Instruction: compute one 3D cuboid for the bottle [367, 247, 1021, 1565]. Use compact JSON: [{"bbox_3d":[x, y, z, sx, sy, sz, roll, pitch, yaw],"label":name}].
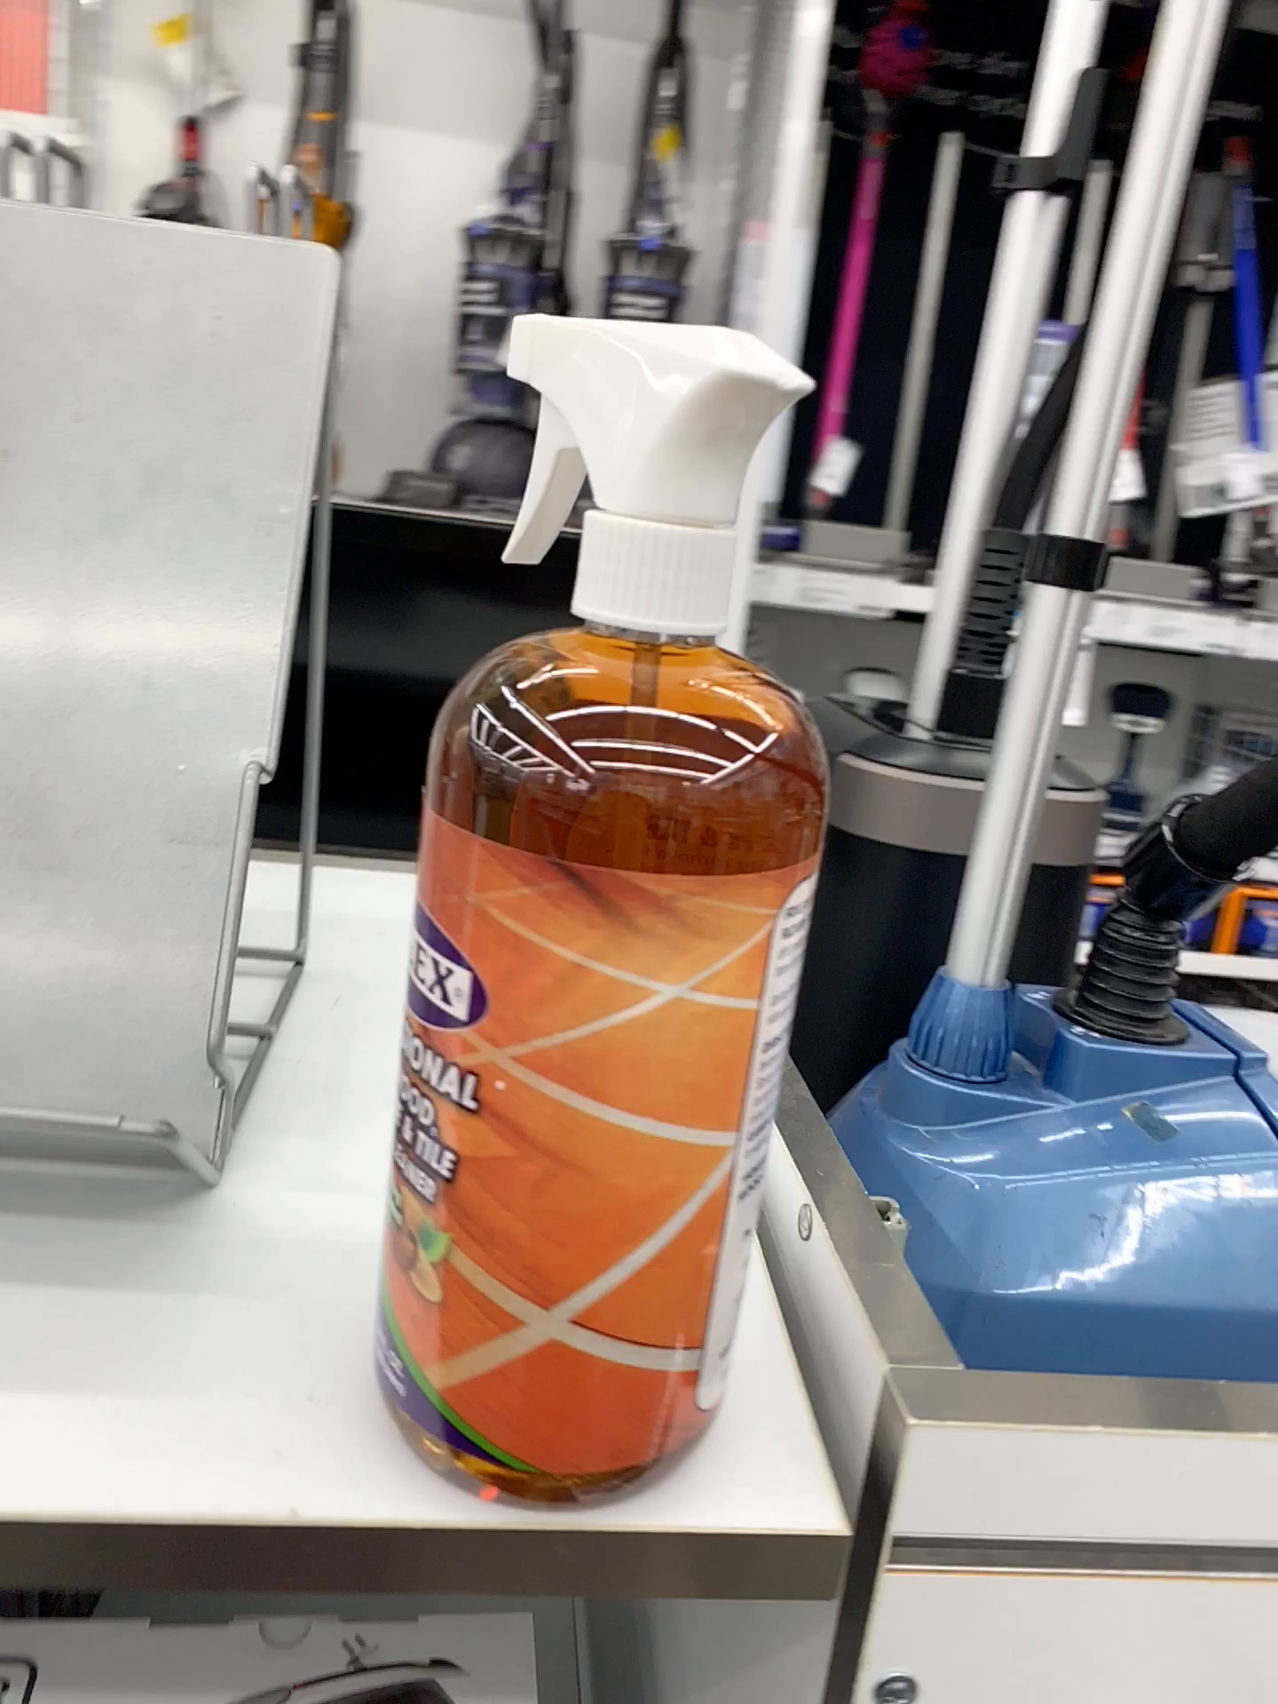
[{"bbox_3d":[-0.003,0.013,0.298,0.090,0.249,0.100,3,14,-16],"label":"bottle"}]
